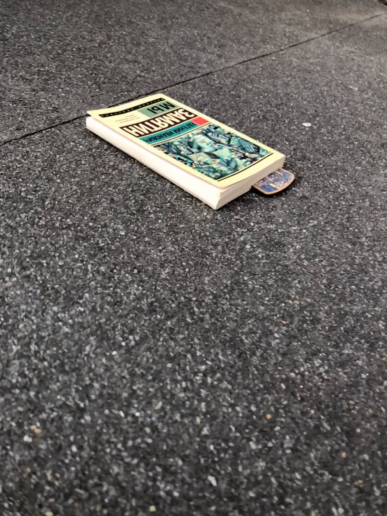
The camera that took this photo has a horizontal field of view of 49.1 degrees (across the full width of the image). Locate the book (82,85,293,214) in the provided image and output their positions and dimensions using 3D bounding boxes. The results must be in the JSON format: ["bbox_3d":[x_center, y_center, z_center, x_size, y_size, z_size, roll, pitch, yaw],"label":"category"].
[{"bbox_3d":[-0.008,-0.123,0.440,0.182,0.027,0.121,35,47,24],"label":"book"}]
